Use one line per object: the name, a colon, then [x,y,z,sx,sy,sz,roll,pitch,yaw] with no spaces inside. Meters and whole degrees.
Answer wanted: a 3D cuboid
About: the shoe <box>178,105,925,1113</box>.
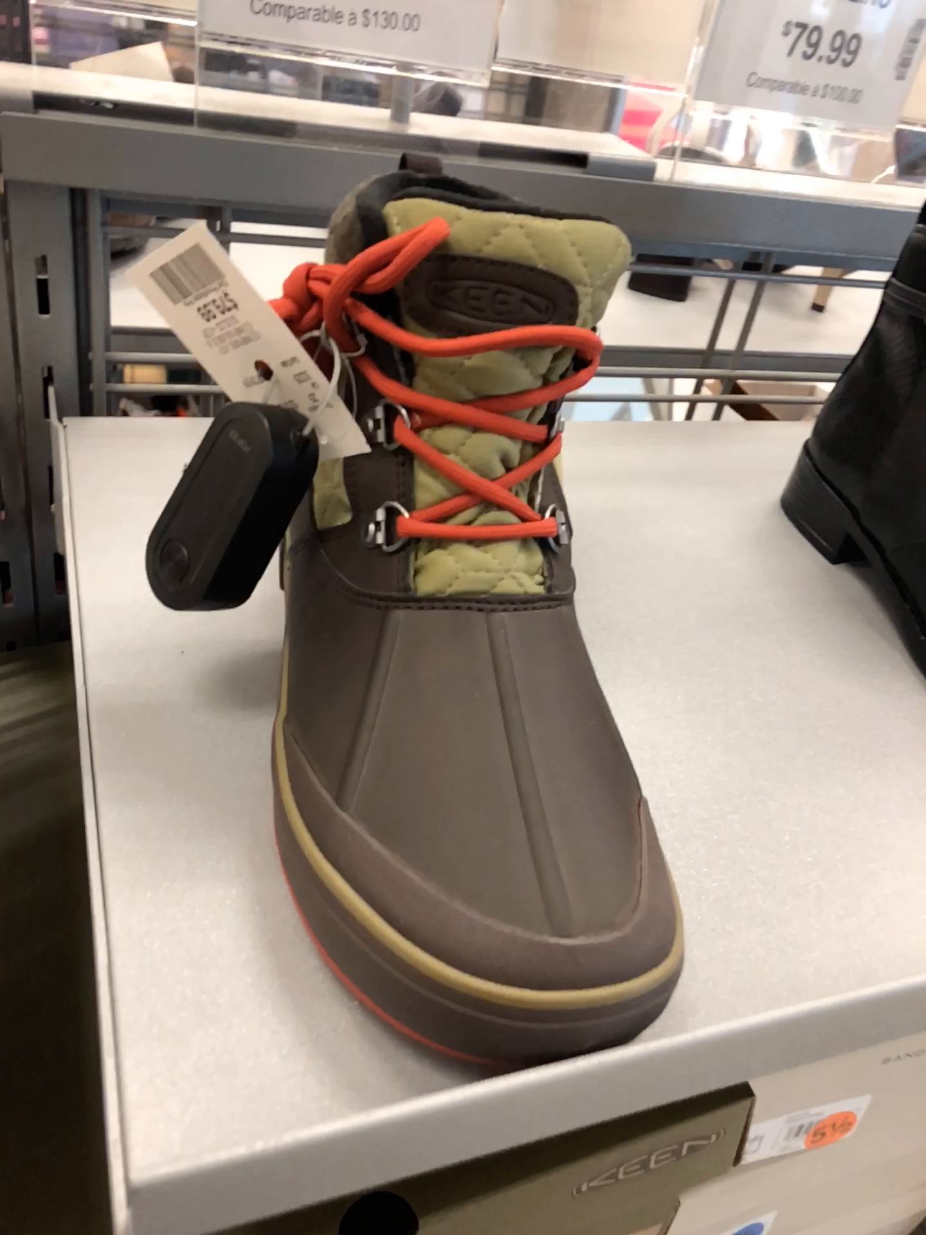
shoe: [-0.010,-0.034,0.289,0.107,0.139,0.262,-2,37,-21]
